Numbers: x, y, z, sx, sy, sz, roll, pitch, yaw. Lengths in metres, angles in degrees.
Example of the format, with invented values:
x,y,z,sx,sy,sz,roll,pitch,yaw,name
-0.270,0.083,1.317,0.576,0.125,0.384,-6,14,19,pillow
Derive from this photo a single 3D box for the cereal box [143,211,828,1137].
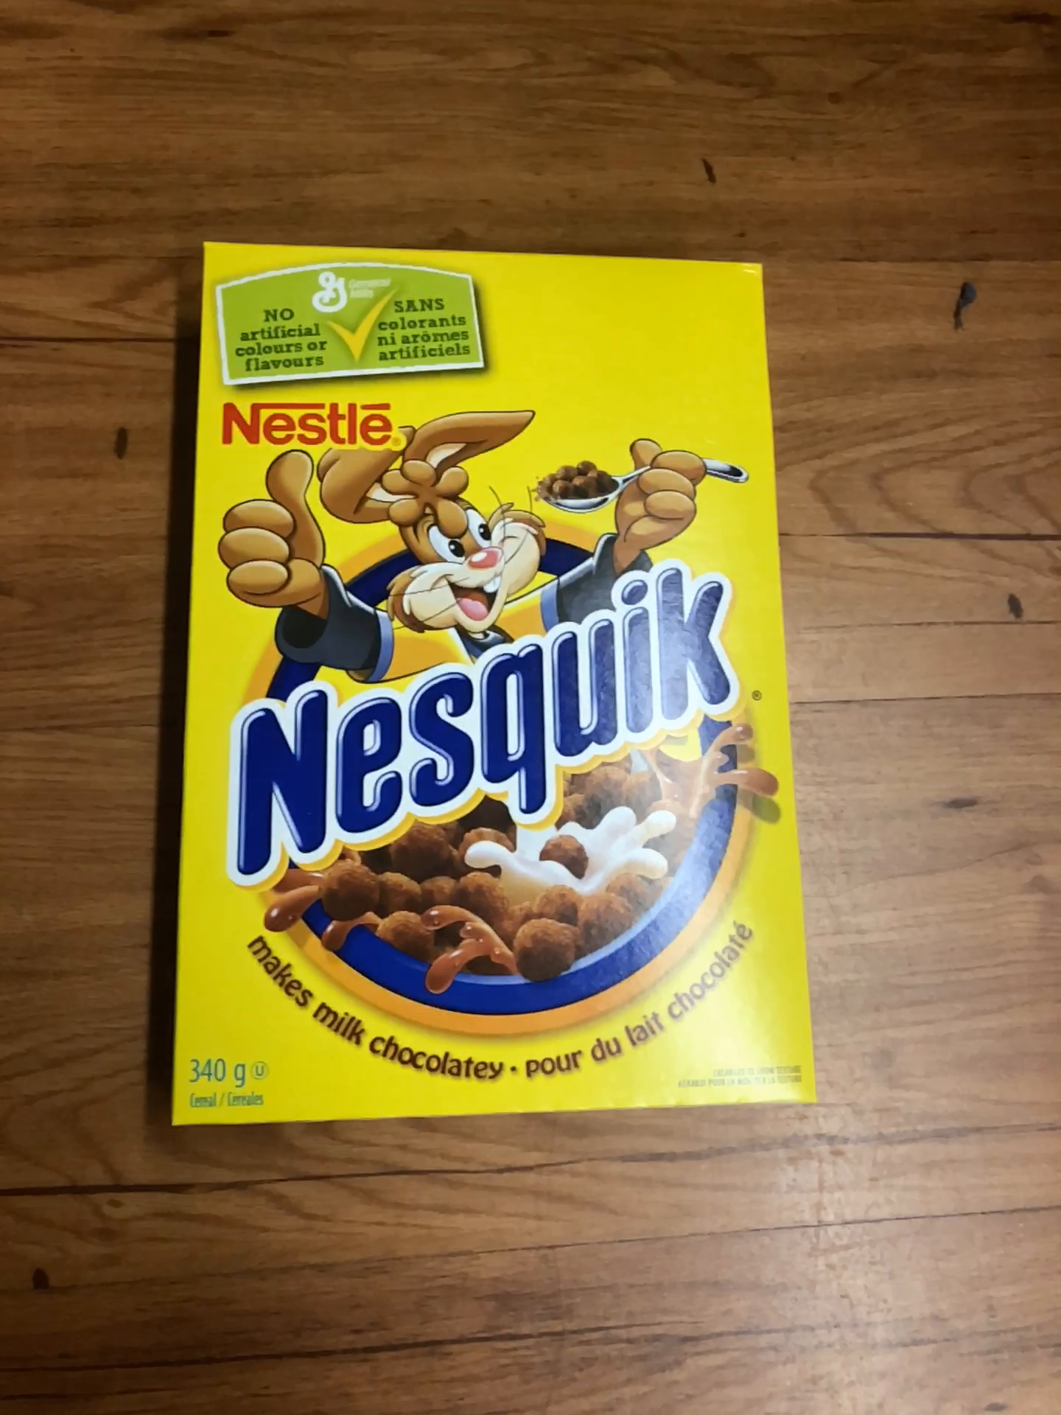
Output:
x,y,z,sx,sy,sz,roll,pitch,yaw,name
-0.017,-0.016,0.396,0.200,0.060,0.290,-1,80,-5,cereal box
